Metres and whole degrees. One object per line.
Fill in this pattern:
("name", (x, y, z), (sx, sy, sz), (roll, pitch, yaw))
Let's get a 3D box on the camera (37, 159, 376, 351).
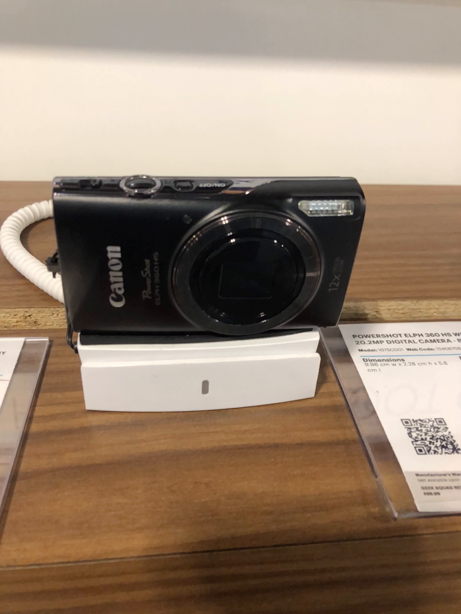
("camera", (-0.008, -0.018, 0.179), (0.100, 0.056, 0.030), (-2, 33, -8))
